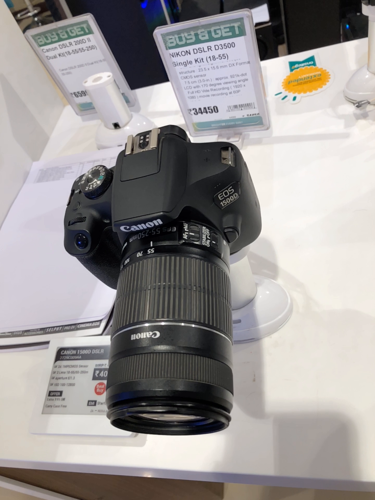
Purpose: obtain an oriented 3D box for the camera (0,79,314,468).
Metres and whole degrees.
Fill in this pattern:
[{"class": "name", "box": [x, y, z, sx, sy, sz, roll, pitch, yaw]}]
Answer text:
[{"class": "camera", "box": [-0.017, 0.008, 0.254, 0.140, 0.089, 0.201, -11, 50, 13]}]
